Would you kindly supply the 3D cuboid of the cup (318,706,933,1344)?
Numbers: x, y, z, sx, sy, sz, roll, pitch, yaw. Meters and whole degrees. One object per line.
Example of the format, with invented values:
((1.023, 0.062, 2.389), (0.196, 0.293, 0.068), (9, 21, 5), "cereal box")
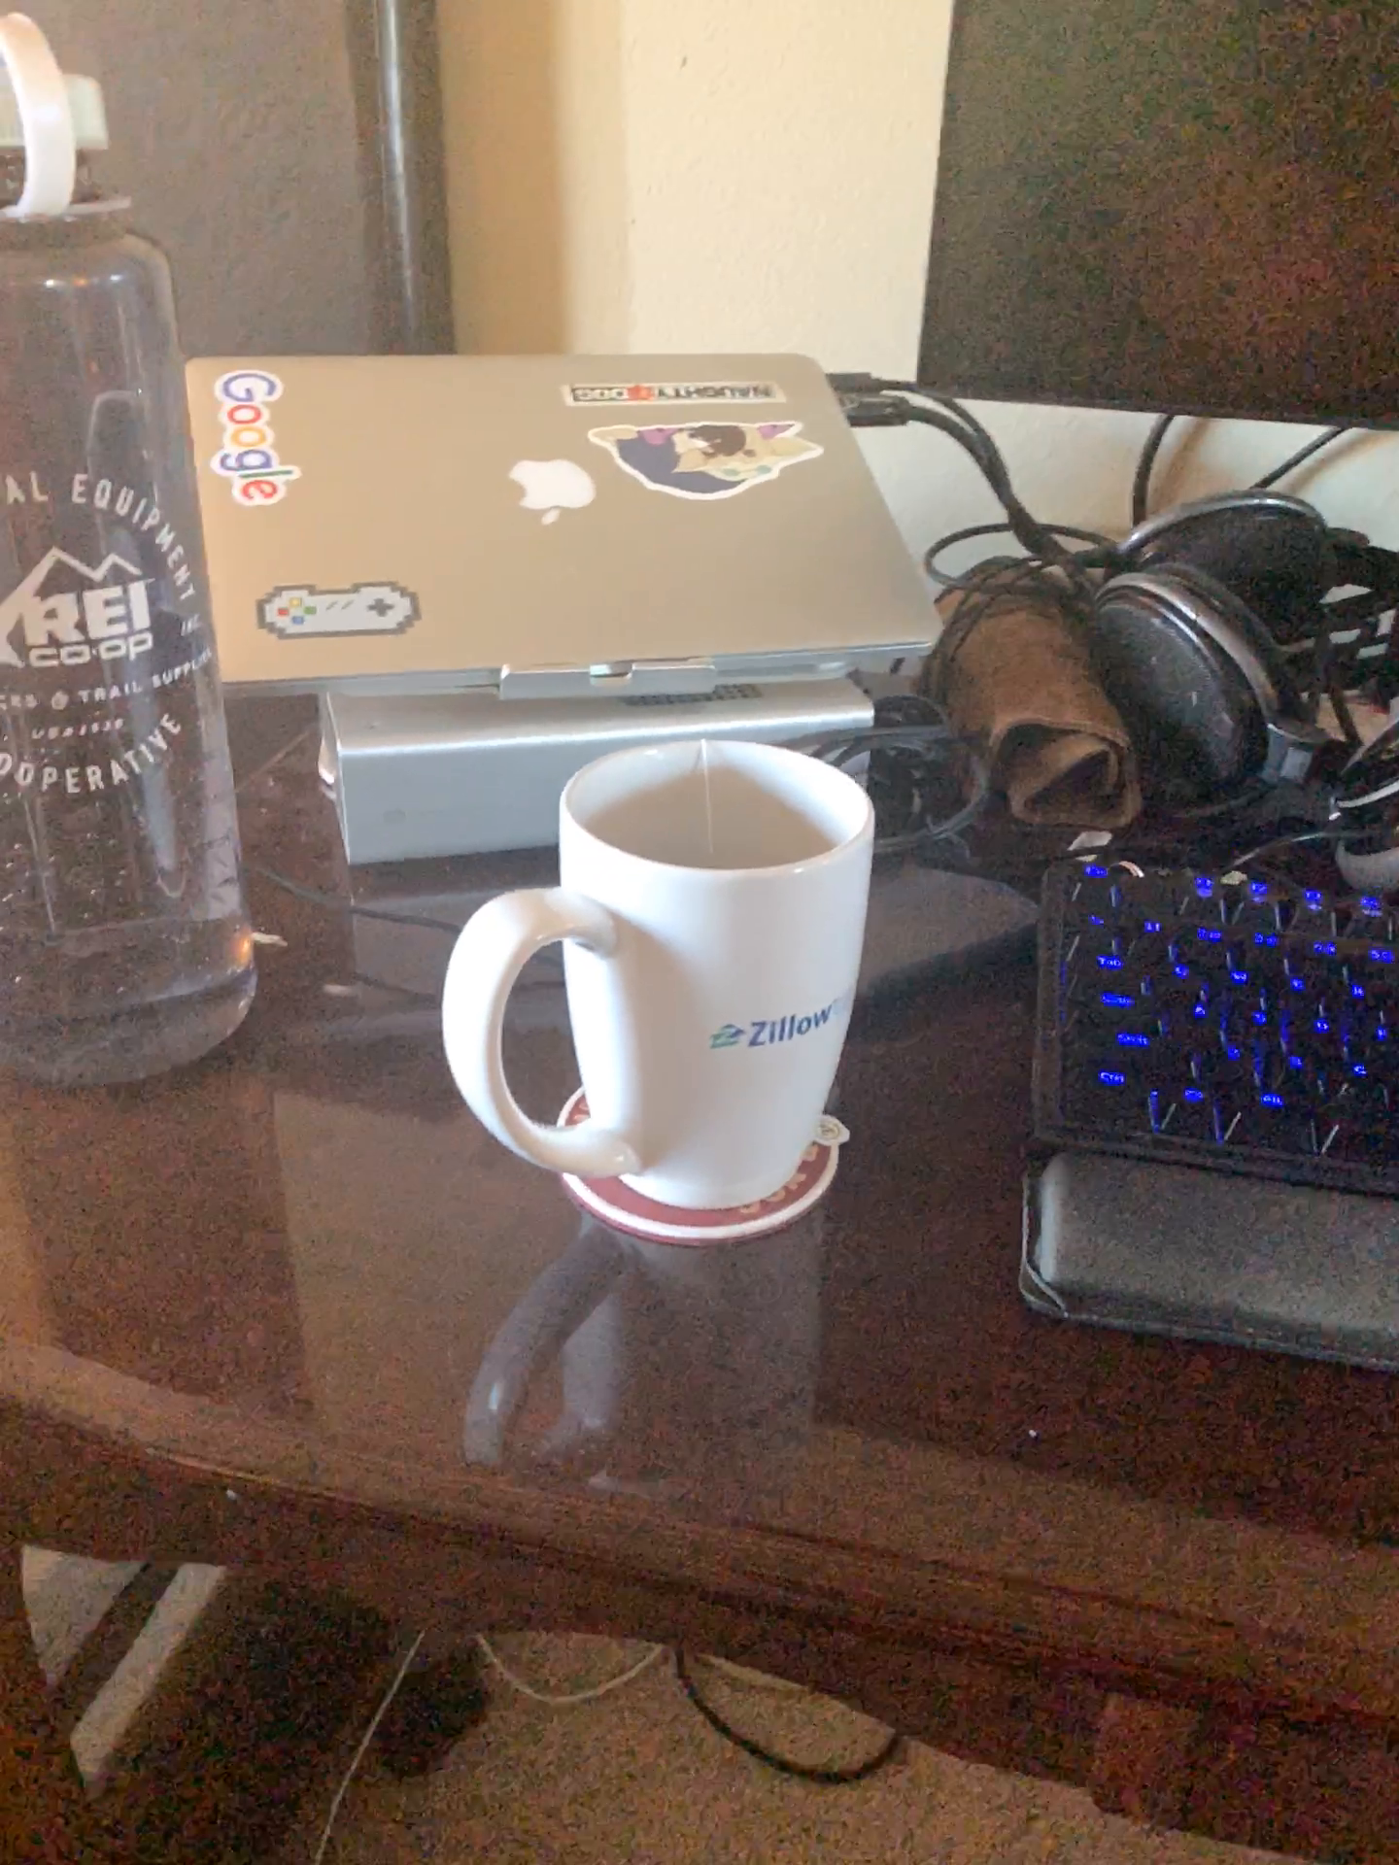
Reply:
((-0.017, 0.016, 0.398), (0.100, 0.099, 0.130), (22, 36, 30), "cup")
